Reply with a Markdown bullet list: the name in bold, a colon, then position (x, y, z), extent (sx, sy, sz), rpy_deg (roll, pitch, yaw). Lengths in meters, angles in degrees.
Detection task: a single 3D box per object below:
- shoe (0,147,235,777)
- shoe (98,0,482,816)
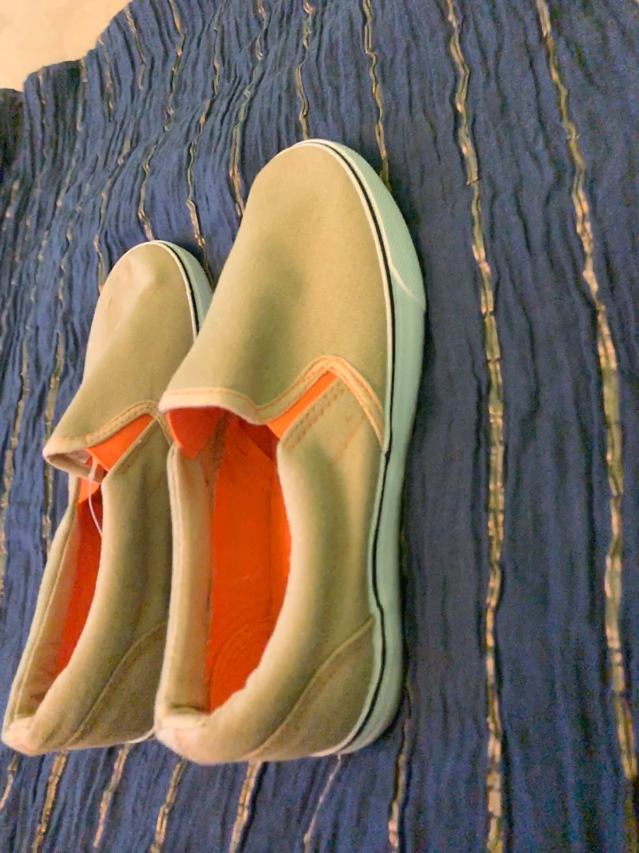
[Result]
- **shoe**: position (-0.107, 0.013, 0.322), extent (0.096, 0.079, 0.263), rpy_deg (-14, 67, 35)
- **shoe**: position (-0.010, -0.014, 0.263), extent (0.101, 0.079, 0.271), rpy_deg (-14, 67, 35)
